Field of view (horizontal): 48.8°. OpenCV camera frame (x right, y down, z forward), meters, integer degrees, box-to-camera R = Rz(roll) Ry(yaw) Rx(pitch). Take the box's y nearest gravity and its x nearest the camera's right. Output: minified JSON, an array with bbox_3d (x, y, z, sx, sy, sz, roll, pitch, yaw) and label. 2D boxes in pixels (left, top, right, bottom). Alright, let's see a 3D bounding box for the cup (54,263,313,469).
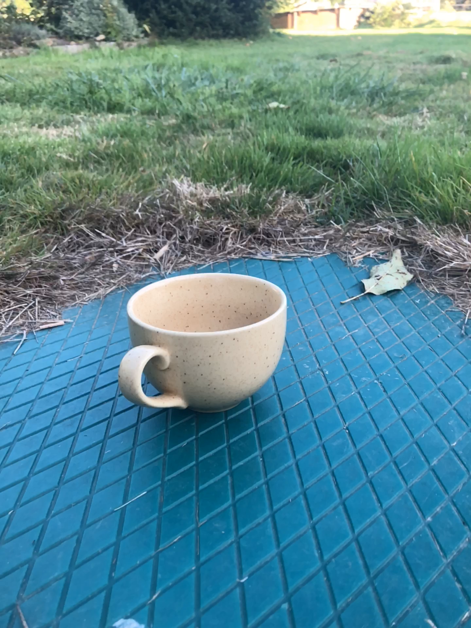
[{"bbox_3d":[-0.028,0.024,0.377,0.123,0.065,0.143,10,28,26],"label":"cup"}]
